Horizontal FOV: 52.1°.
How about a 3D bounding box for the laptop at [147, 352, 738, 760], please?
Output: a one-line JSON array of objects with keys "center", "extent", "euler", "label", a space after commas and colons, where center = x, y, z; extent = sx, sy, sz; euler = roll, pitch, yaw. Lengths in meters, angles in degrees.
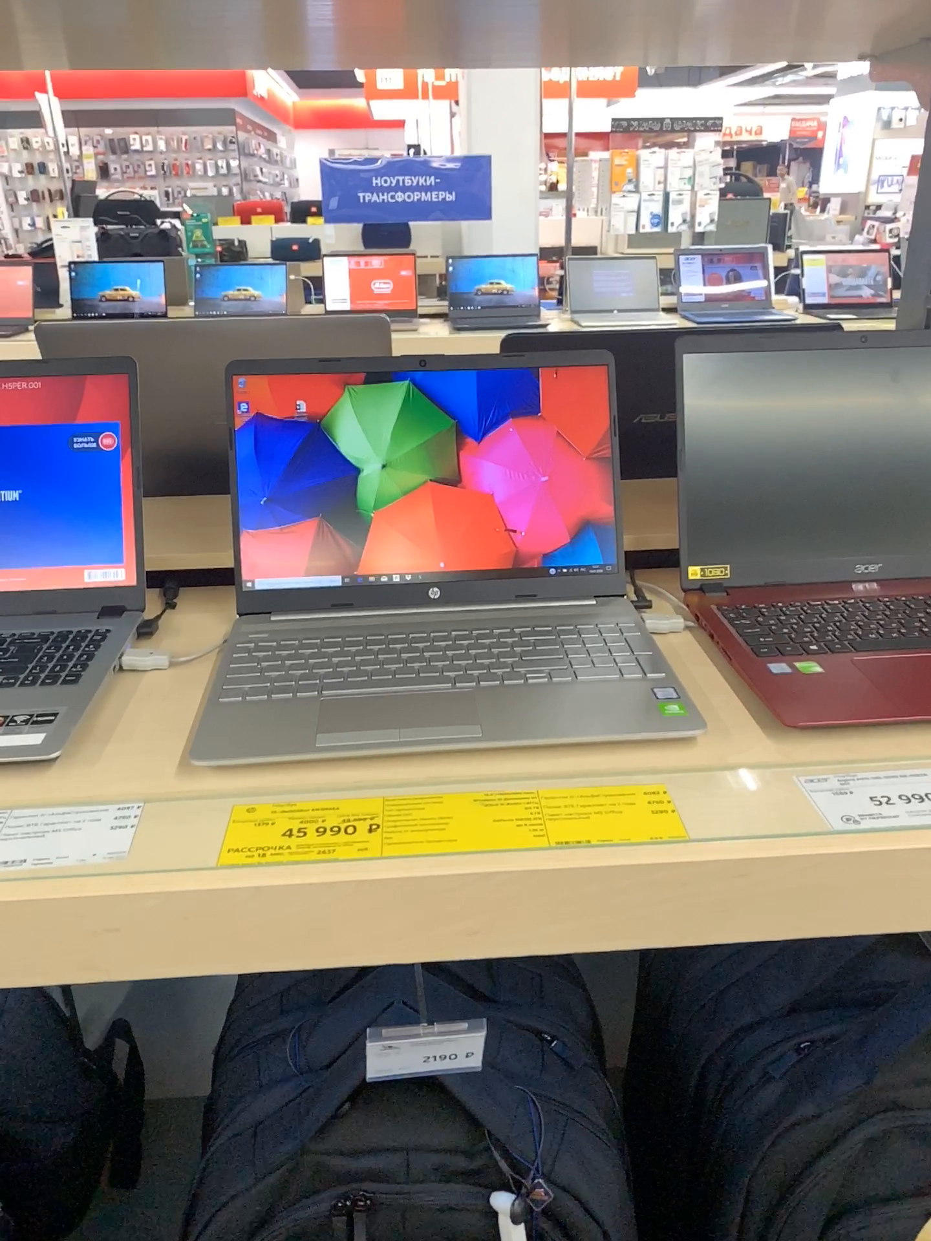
[{"center": [-0.022, -0.081, 0.778], "extent": [0.359, 0.209, 0.349], "euler": [-3, 24, -4], "label": "laptop"}]
